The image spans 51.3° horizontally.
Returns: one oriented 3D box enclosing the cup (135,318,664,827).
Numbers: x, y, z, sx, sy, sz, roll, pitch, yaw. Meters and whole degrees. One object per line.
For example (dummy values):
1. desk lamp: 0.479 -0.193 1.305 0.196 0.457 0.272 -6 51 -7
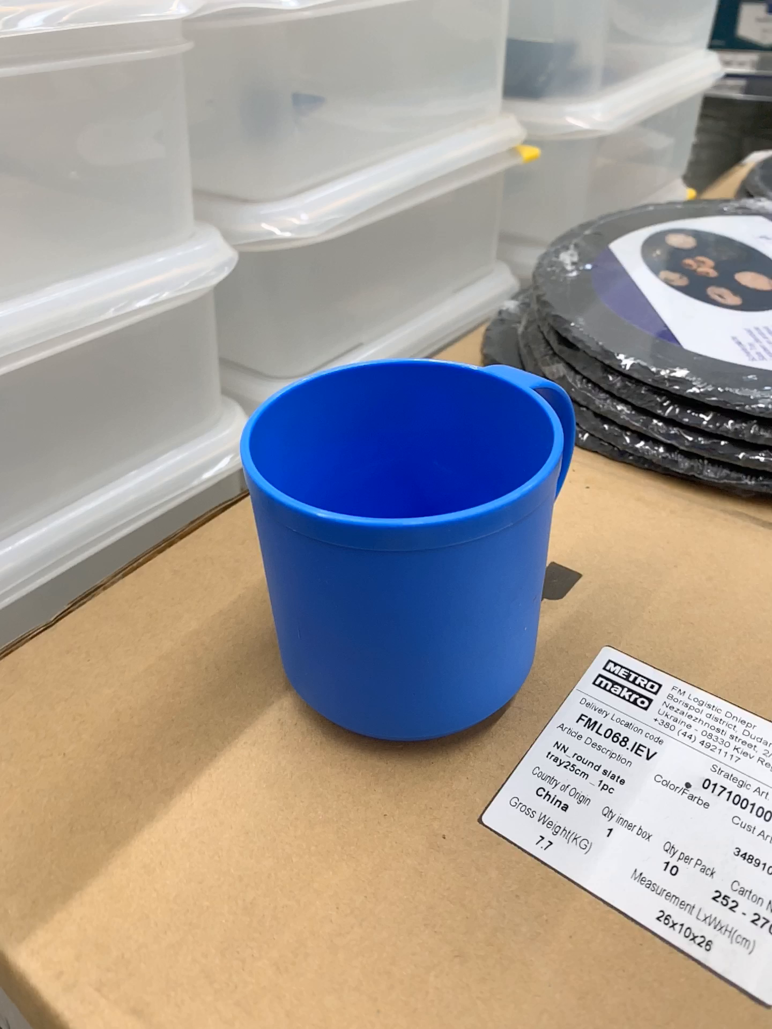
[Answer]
1. cup: 0.008 0.005 0.231 0.089 0.071 0.110 26 45 34
